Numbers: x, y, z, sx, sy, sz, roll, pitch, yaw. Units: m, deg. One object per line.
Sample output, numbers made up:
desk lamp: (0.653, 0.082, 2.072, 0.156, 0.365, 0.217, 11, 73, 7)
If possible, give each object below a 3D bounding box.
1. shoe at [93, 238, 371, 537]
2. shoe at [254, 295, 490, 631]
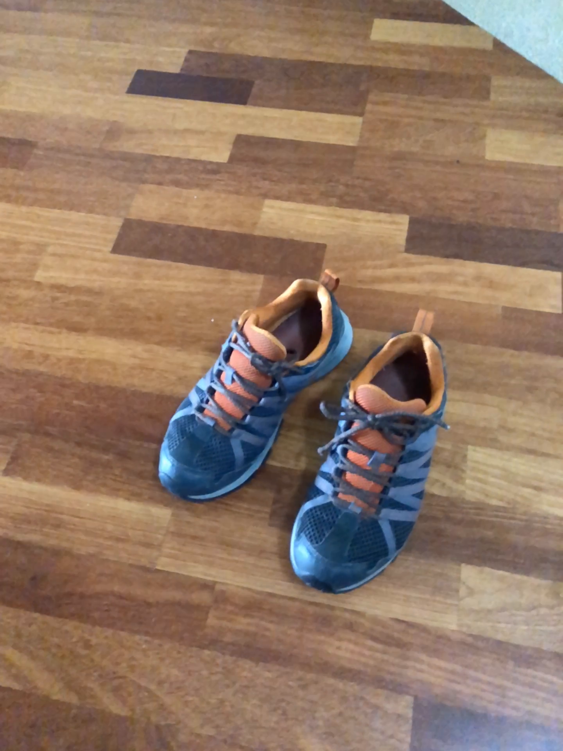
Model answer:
shoe: (-0.038, 0.008, 0.645, 0.113, 0.117, 0.282, 34, 67, 20)
shoe: (0.092, 0.079, 0.602, 0.119, 0.117, 0.279, 21, 63, 14)
